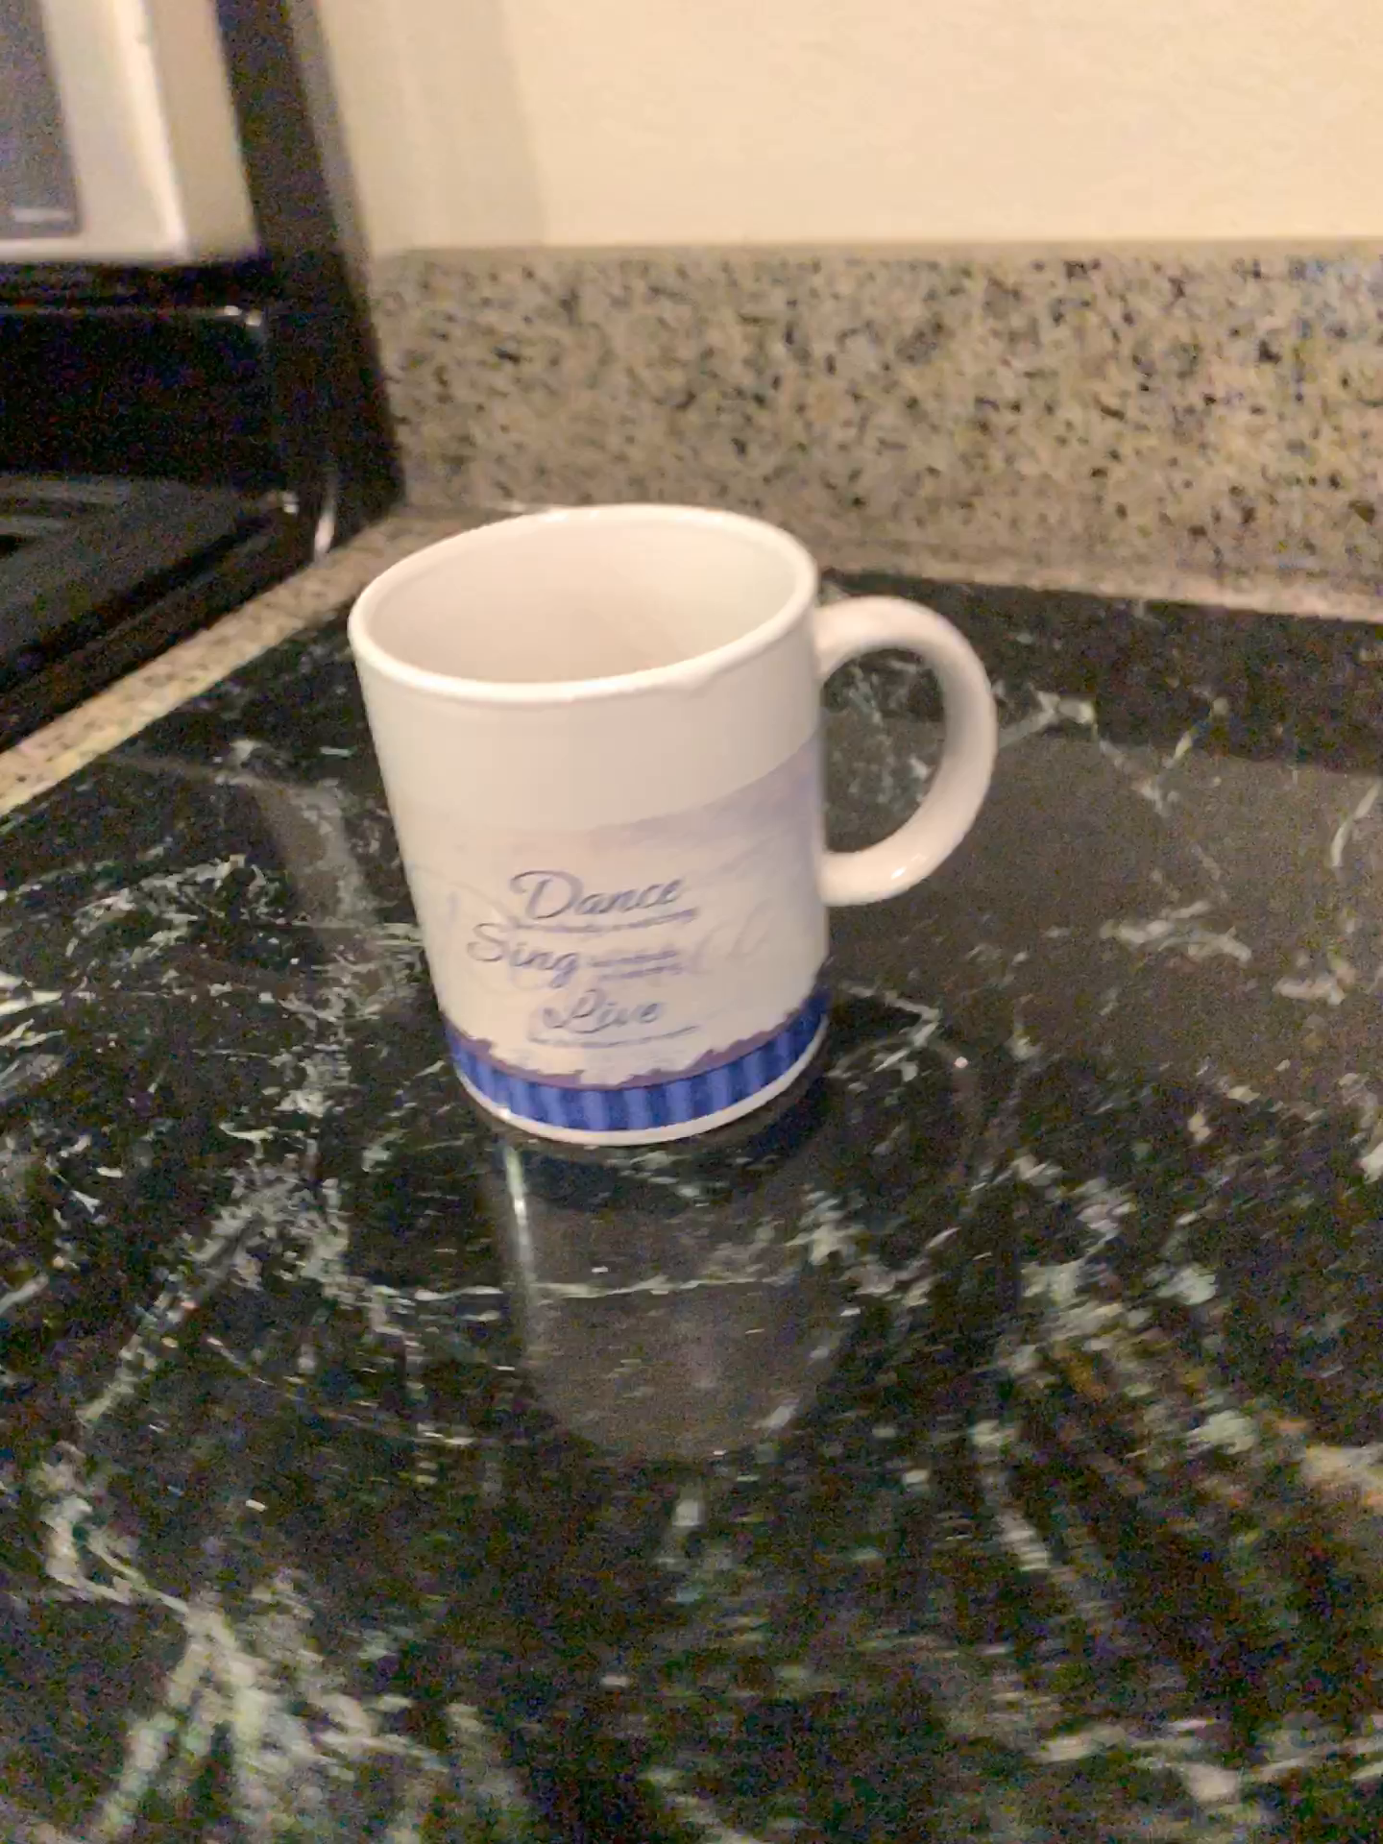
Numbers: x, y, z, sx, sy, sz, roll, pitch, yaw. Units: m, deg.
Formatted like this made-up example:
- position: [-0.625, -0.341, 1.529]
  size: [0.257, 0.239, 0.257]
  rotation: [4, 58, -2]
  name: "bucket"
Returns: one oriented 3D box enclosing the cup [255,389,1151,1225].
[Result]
- position: [-0.001, -0.028, 0.270]
  size: [0.130, 0.099, 0.091]
  rotation: [-14, 35, -12]
  name: "cup"
